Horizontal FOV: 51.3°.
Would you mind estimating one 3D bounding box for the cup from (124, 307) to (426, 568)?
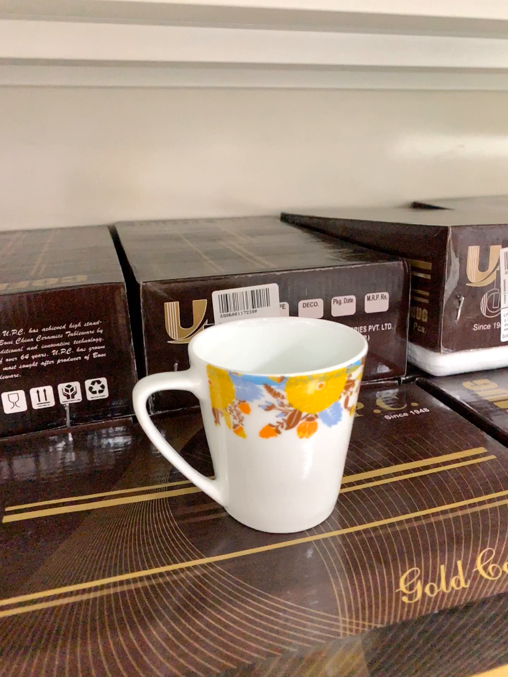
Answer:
[{"bbox_3d":[0.002,0.029,0.198,0.092,0.058,0.068,-6,19,-14],"label":"cup"}]
